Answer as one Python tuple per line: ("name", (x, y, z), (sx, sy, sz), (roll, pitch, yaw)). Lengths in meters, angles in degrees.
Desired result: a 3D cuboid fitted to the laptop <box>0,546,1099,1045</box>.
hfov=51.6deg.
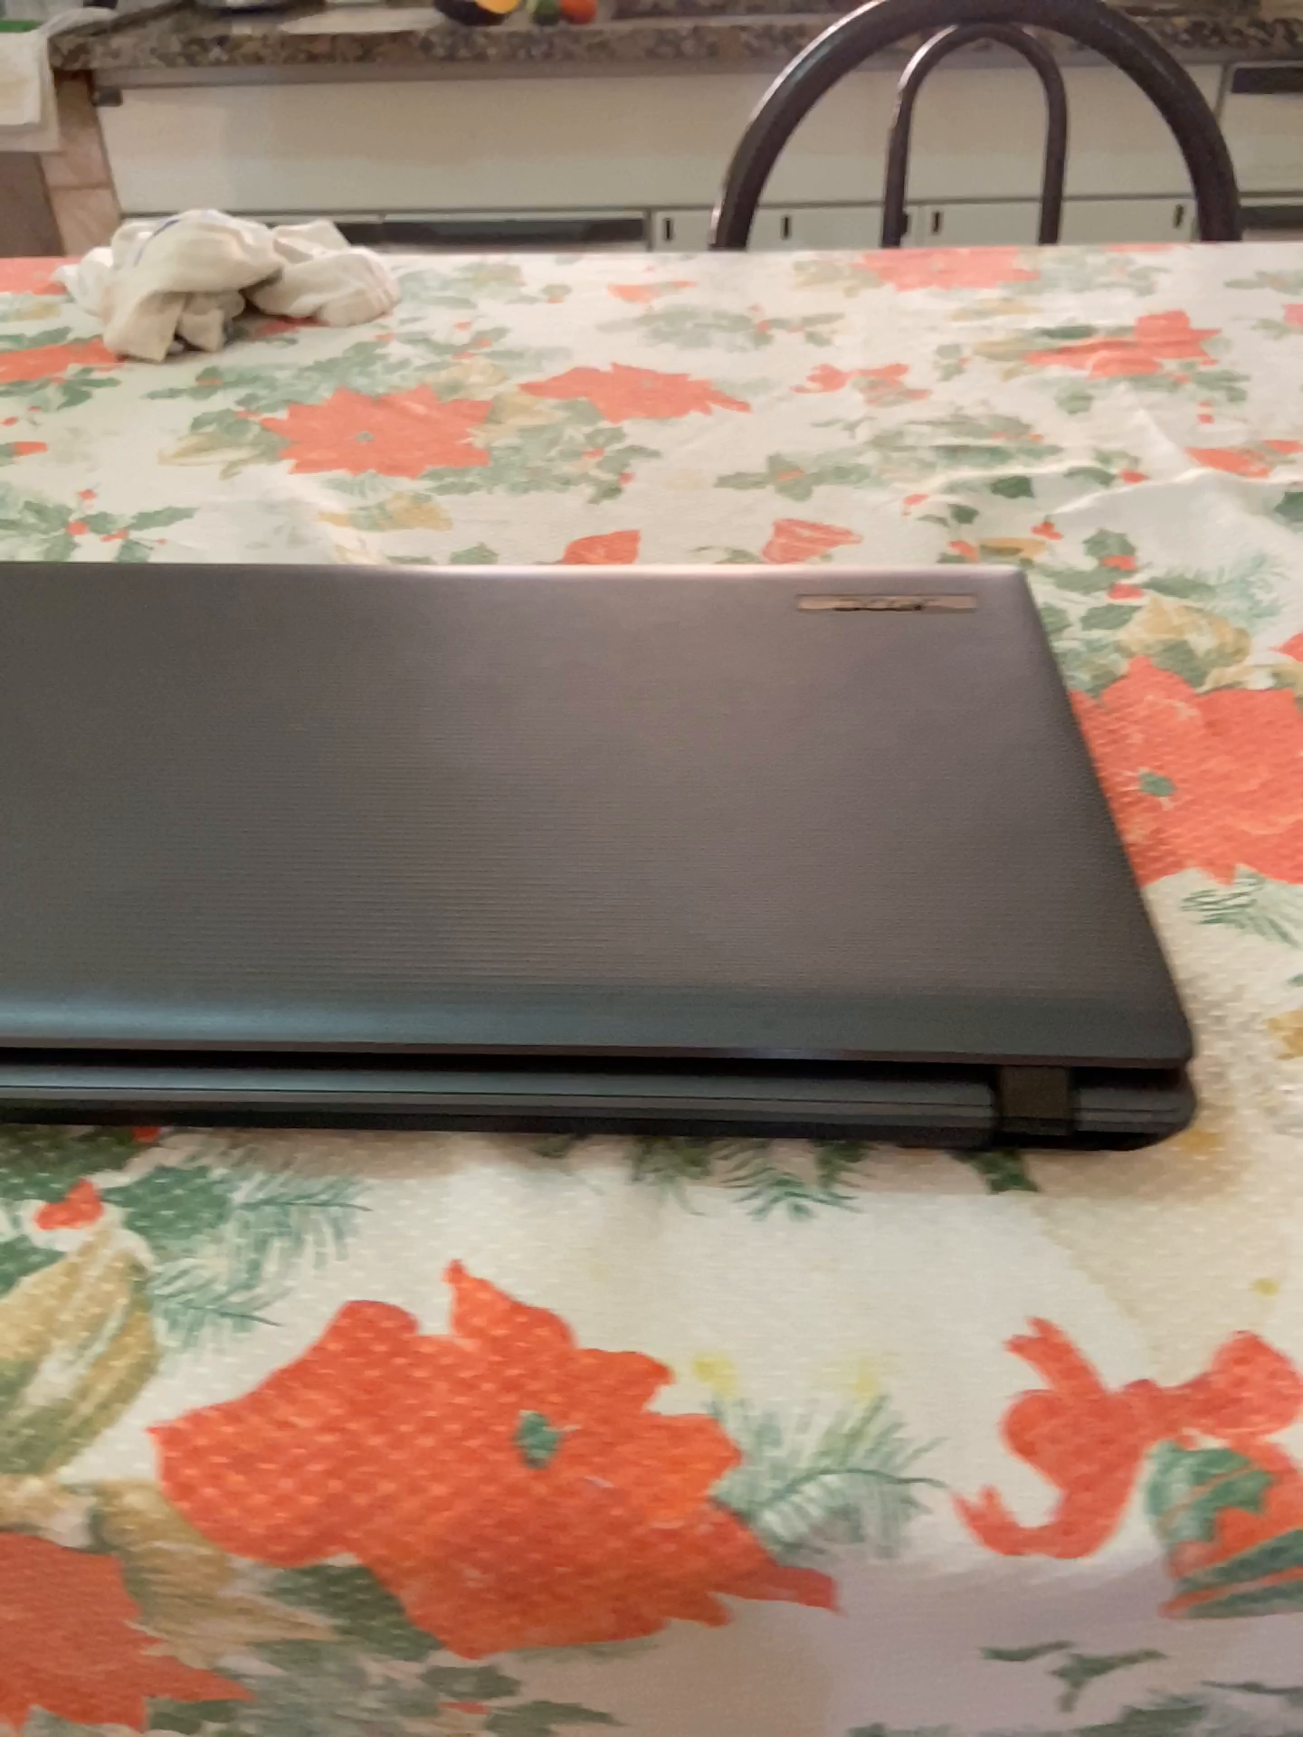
("laptop", (-0.077, -0.039, 0.375), (0.350, 0.001, 0.224), (2, 38, 3))
